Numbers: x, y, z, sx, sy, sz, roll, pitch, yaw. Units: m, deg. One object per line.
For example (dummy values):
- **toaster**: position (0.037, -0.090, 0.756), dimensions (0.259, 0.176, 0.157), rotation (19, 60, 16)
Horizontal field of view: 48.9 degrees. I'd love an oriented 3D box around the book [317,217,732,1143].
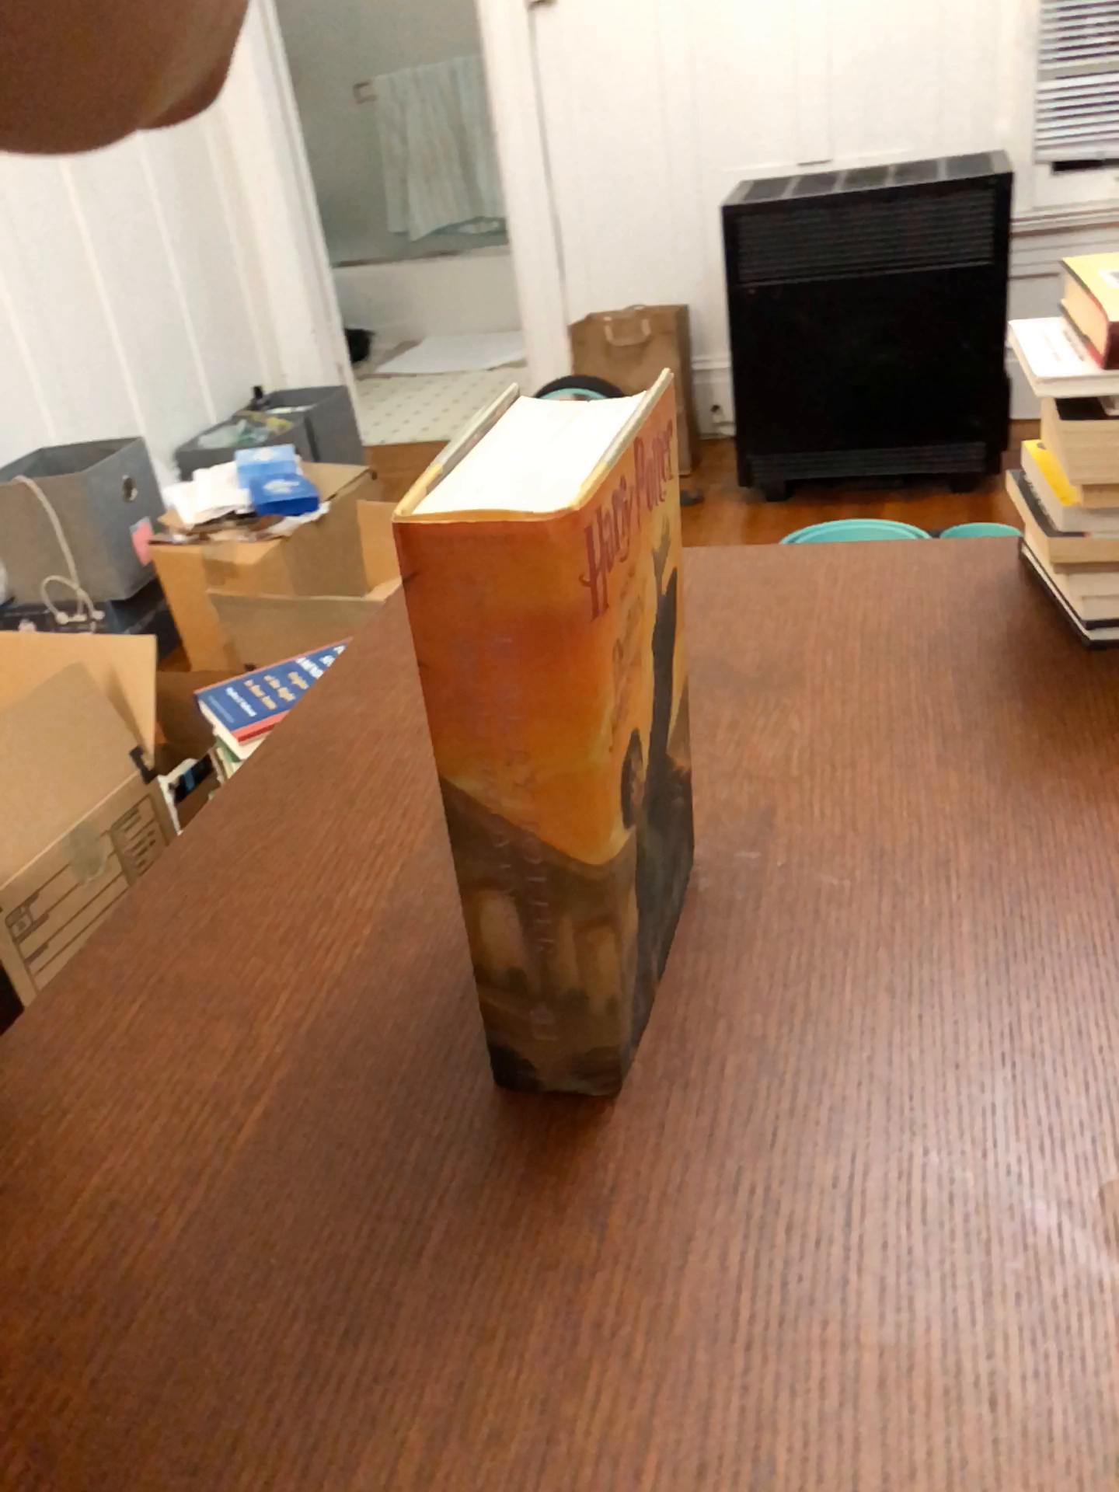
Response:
- **book**: position (0.011, -0.033, 0.493), dimensions (0.070, 0.298, 0.211), rotation (2, 31, 17)
